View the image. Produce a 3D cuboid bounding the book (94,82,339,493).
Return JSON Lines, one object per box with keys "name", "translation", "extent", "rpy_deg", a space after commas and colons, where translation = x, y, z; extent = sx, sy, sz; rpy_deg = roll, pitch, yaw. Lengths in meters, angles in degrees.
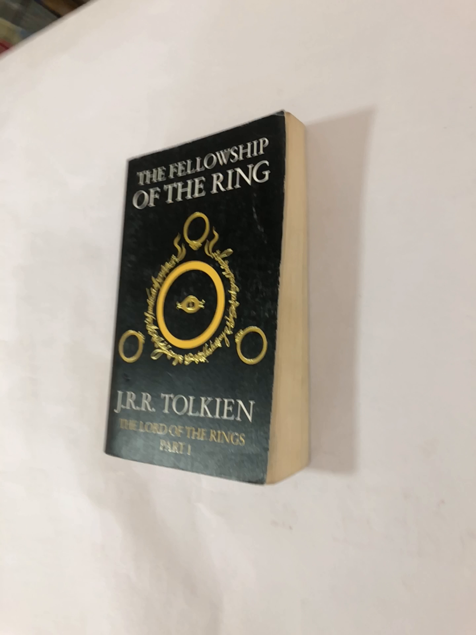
{"name": "book", "translation": [-0.015, -0.014, 0.316], "extent": [0.131, 0.050, 0.200], "rpy_deg": [-2, 80, 41]}
